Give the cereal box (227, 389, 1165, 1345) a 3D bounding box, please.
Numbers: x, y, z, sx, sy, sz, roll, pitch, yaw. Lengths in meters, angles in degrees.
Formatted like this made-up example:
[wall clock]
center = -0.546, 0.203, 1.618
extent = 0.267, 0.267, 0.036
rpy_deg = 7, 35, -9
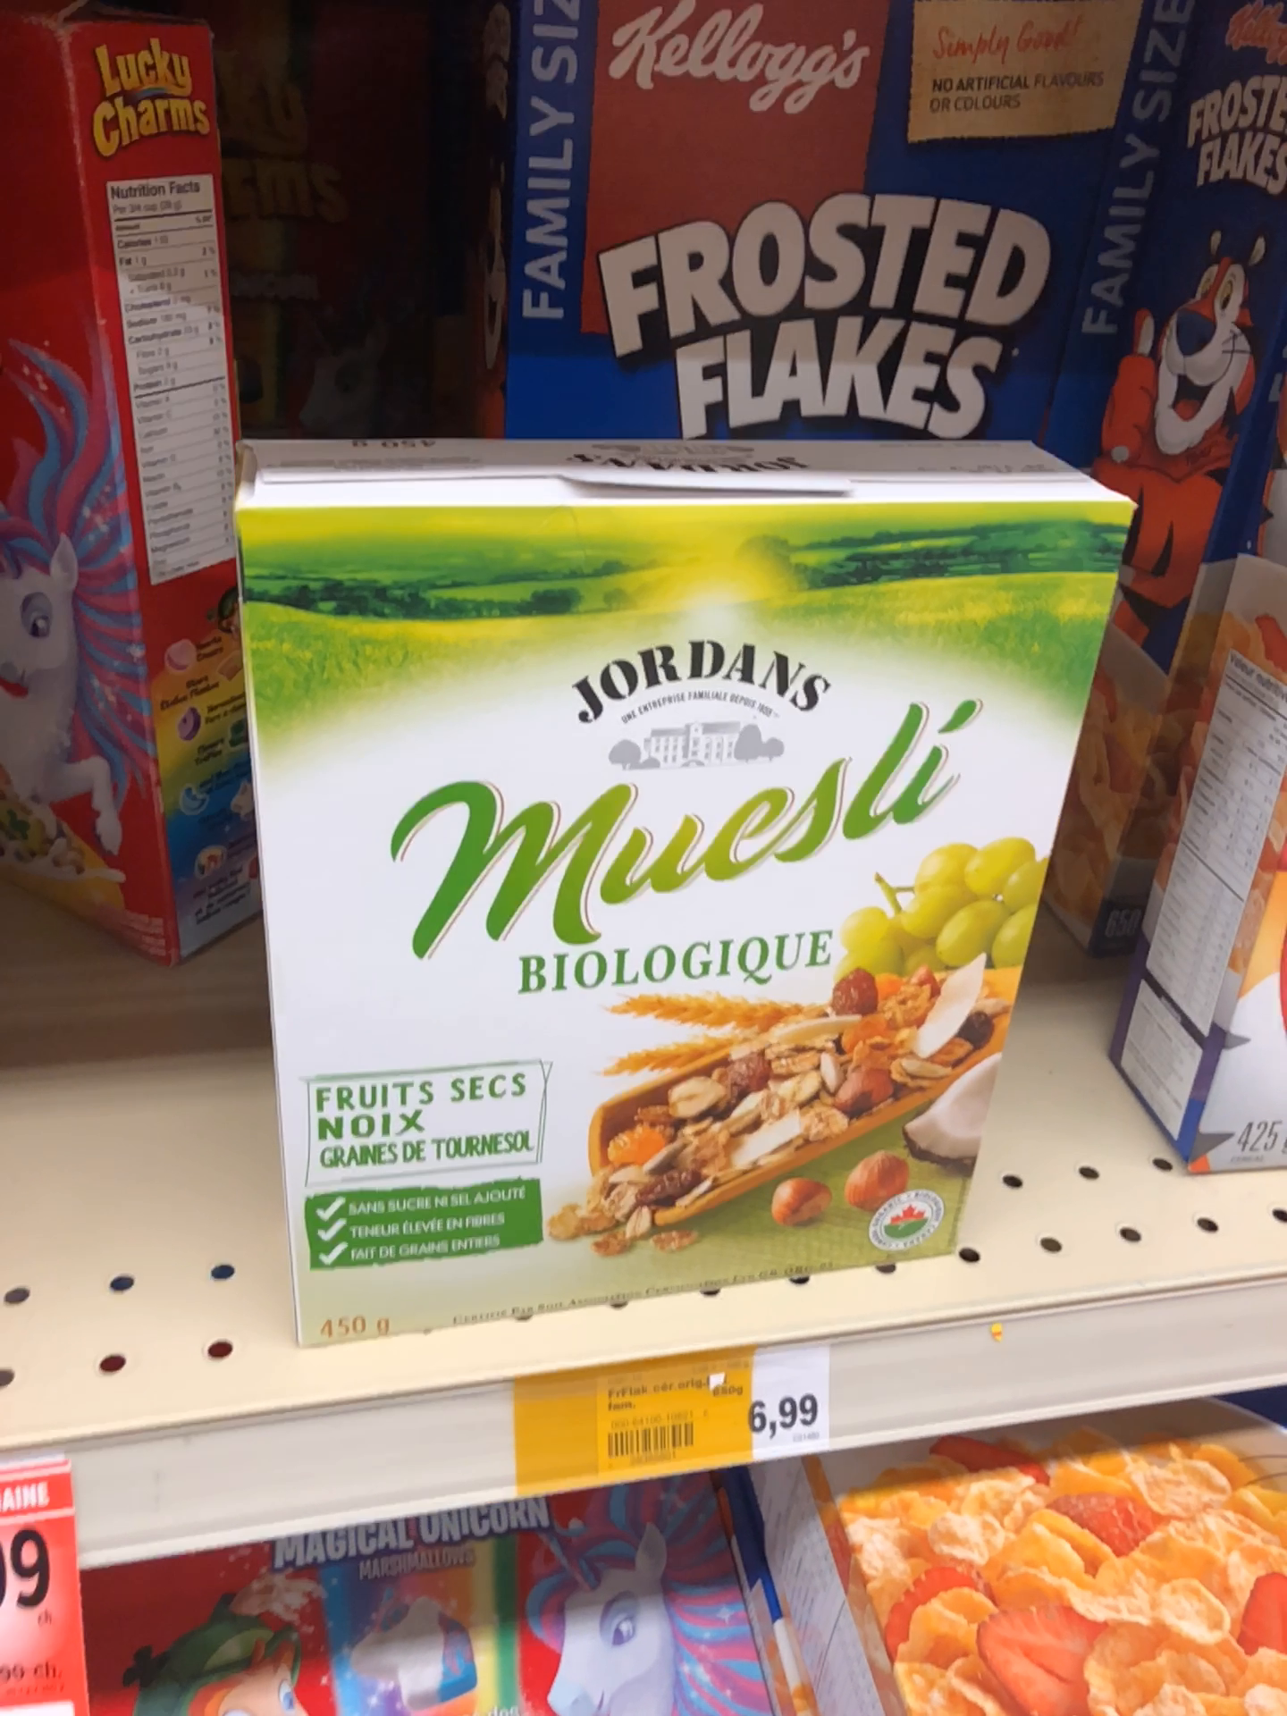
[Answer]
[cereal box]
center = 0.003, 0.008, 0.339
extent = 0.180, 0.218, 0.050
rpy_deg = -4, 32, -14
